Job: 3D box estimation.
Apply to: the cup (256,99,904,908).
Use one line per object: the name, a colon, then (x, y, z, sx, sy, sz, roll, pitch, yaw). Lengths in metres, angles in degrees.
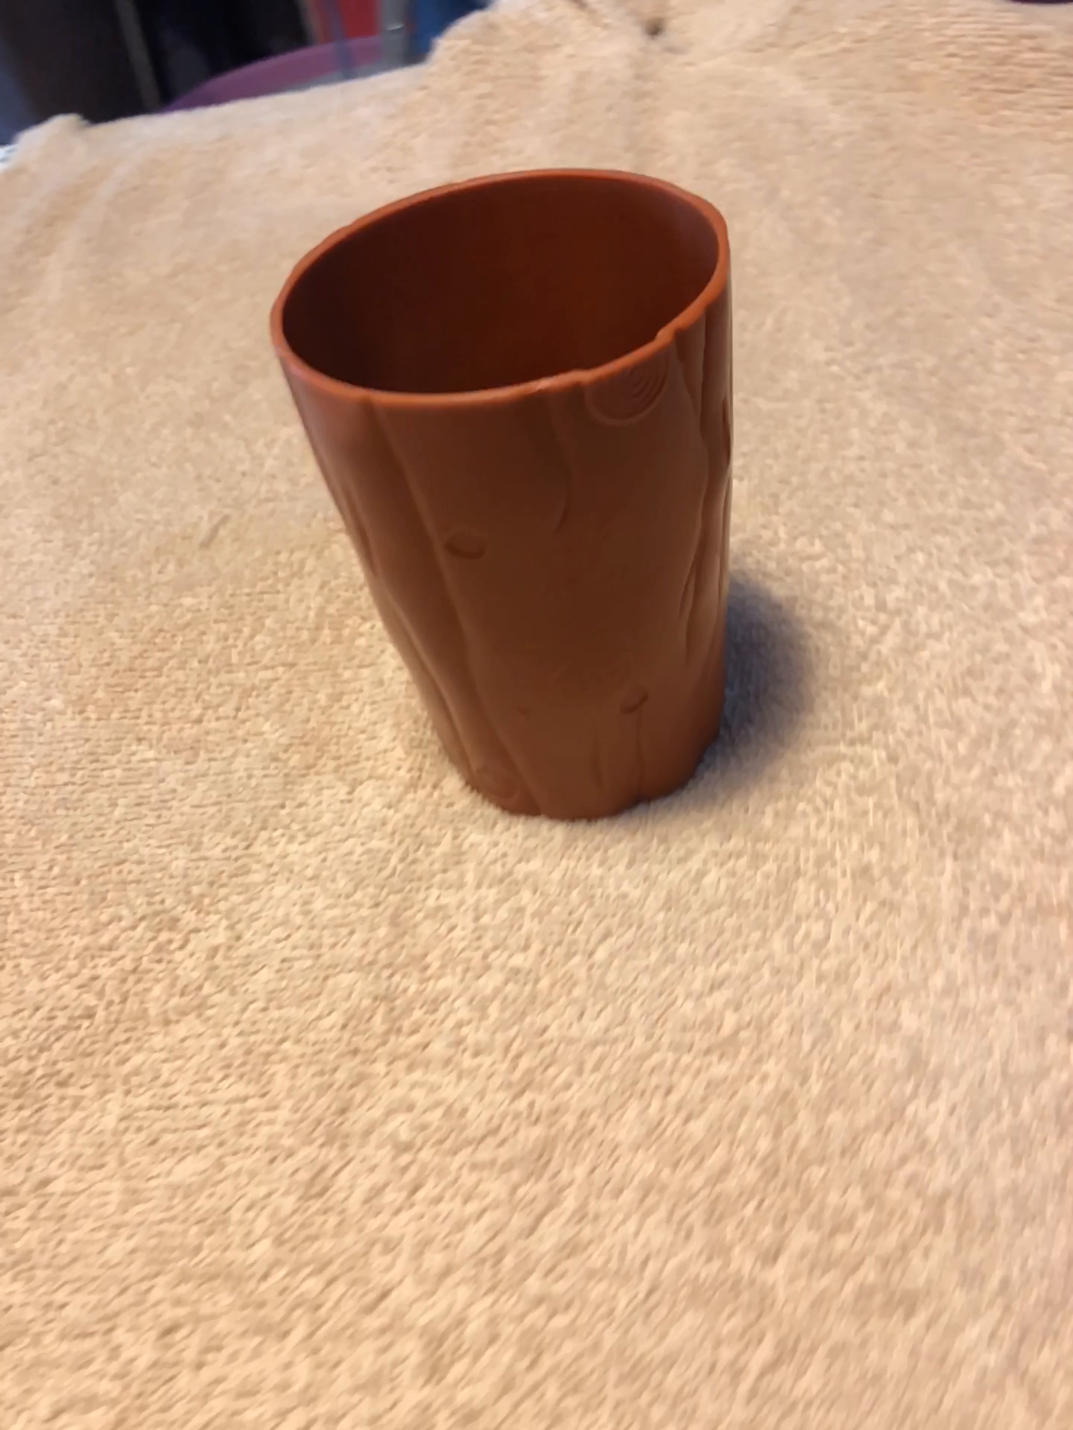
cup: (0.009, -0.041, 0.240, 0.080, 0.109, 0.091, -21, 47, -9)
